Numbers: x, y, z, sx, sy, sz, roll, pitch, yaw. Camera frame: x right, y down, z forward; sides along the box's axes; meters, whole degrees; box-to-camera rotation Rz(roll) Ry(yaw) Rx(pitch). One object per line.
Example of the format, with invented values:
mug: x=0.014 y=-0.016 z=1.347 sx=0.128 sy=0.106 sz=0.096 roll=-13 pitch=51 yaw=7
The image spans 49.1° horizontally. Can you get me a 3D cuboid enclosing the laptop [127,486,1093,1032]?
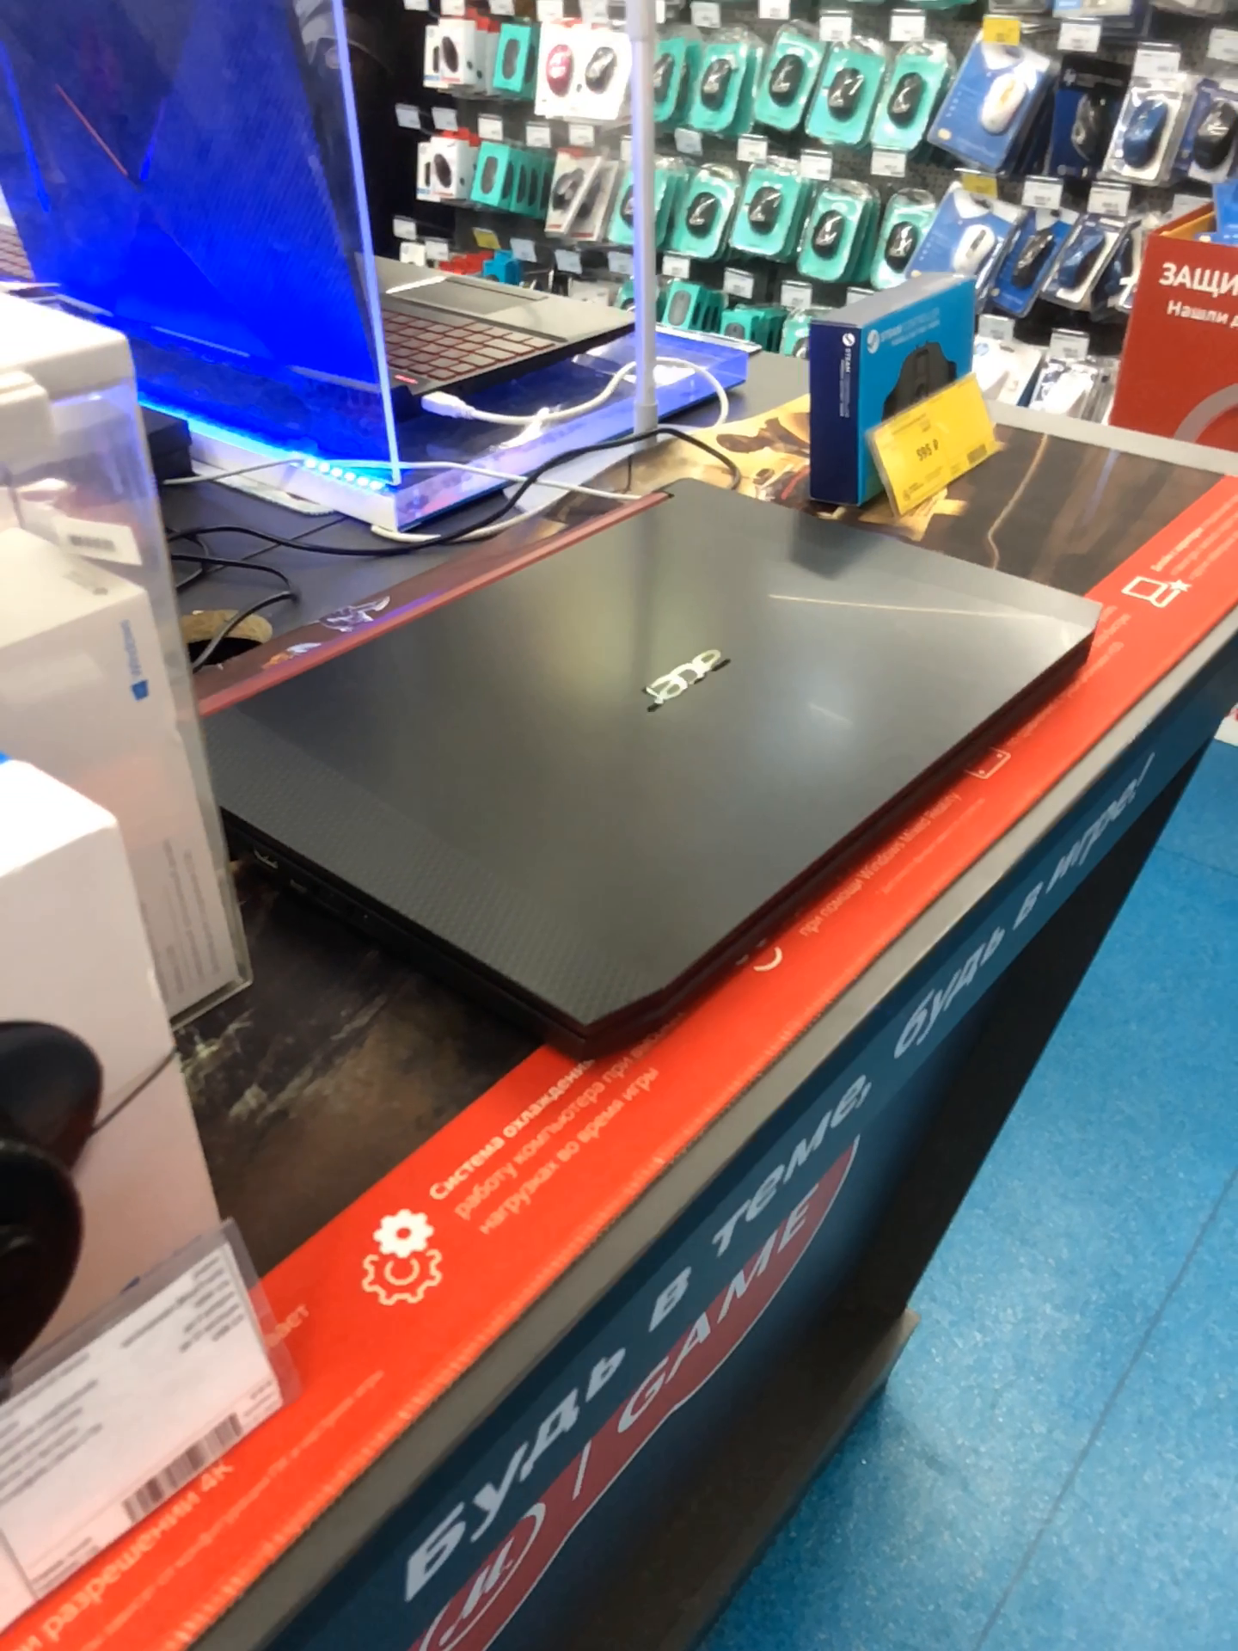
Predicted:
laptop: x=0.013 y=-0.064 z=0.574 sx=0.243 sy=0.005 sz=0.351 roll=26 pitch=42 yaw=31
